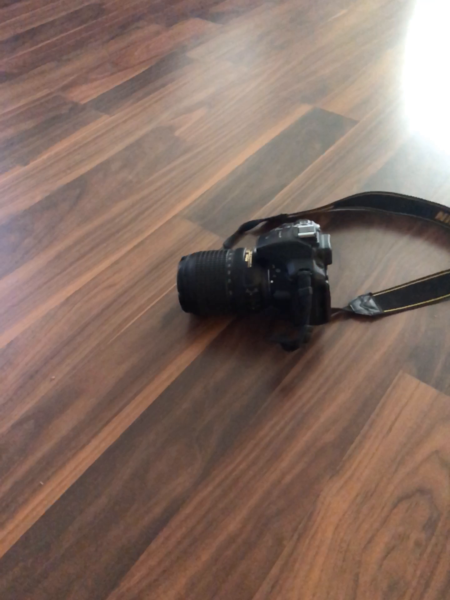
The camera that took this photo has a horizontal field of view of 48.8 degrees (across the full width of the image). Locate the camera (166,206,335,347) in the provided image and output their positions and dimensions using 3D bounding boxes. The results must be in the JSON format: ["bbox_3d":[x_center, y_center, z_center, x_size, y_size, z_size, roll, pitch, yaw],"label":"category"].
[{"bbox_3d":[0.036,-0.026,0.610,0.180,0.130,0.110,-1,48,8],"label":"camera"}]
